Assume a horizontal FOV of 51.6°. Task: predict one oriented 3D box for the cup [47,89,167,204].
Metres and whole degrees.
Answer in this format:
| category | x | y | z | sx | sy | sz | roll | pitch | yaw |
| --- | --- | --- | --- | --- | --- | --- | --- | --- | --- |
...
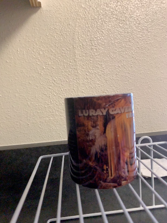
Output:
| category | x | y | z | sx | sy | sz | roll | pitch | yaw |
| --- | --- | --- | --- | --- | --- | --- | --- | --- | --- |
| cup | 0.033 | 0.023 | 0.209 | 0.120 | 0.090 | 0.080 | -9 | 8 | -41 |
